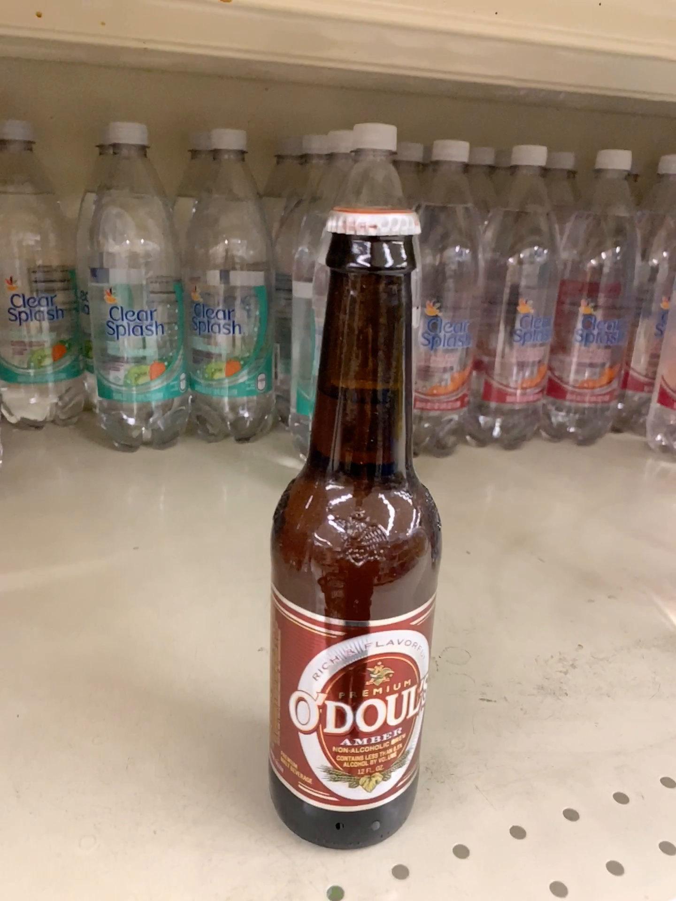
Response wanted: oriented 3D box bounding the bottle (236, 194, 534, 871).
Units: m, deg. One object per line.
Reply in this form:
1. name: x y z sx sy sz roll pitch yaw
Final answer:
1. bottle: 0.004 0.030 0.243 0.070 0.219 0.070 2 22 -1
